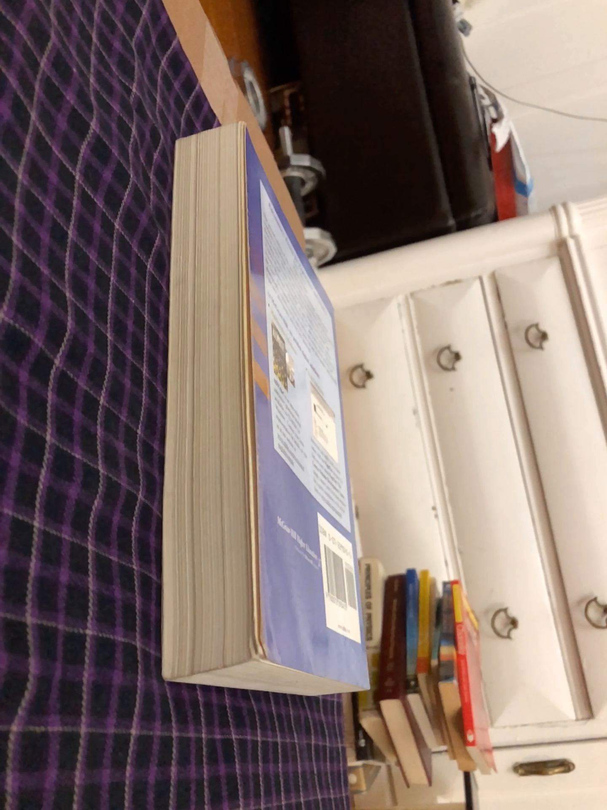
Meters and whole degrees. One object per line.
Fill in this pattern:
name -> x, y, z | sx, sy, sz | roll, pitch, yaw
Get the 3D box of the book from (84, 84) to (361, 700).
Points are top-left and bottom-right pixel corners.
book -> -0.027, 0.008, 0.324 | 0.180, 0.040, 0.240 | 52, 30, -60
